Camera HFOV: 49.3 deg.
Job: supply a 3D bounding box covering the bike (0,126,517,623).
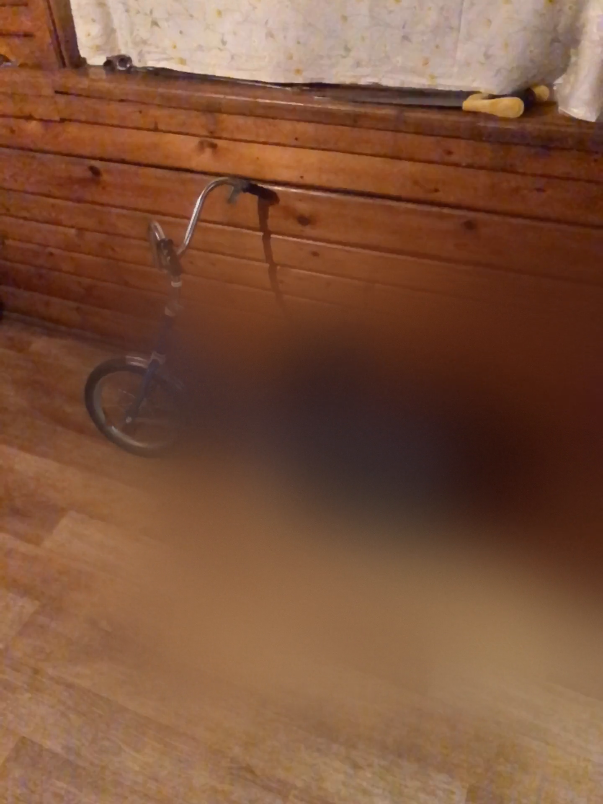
[{"bbox_3d":[-0.115,-0.102,1.515,0.957,0.697,0.596,17,46,19],"label":"bike"}]
